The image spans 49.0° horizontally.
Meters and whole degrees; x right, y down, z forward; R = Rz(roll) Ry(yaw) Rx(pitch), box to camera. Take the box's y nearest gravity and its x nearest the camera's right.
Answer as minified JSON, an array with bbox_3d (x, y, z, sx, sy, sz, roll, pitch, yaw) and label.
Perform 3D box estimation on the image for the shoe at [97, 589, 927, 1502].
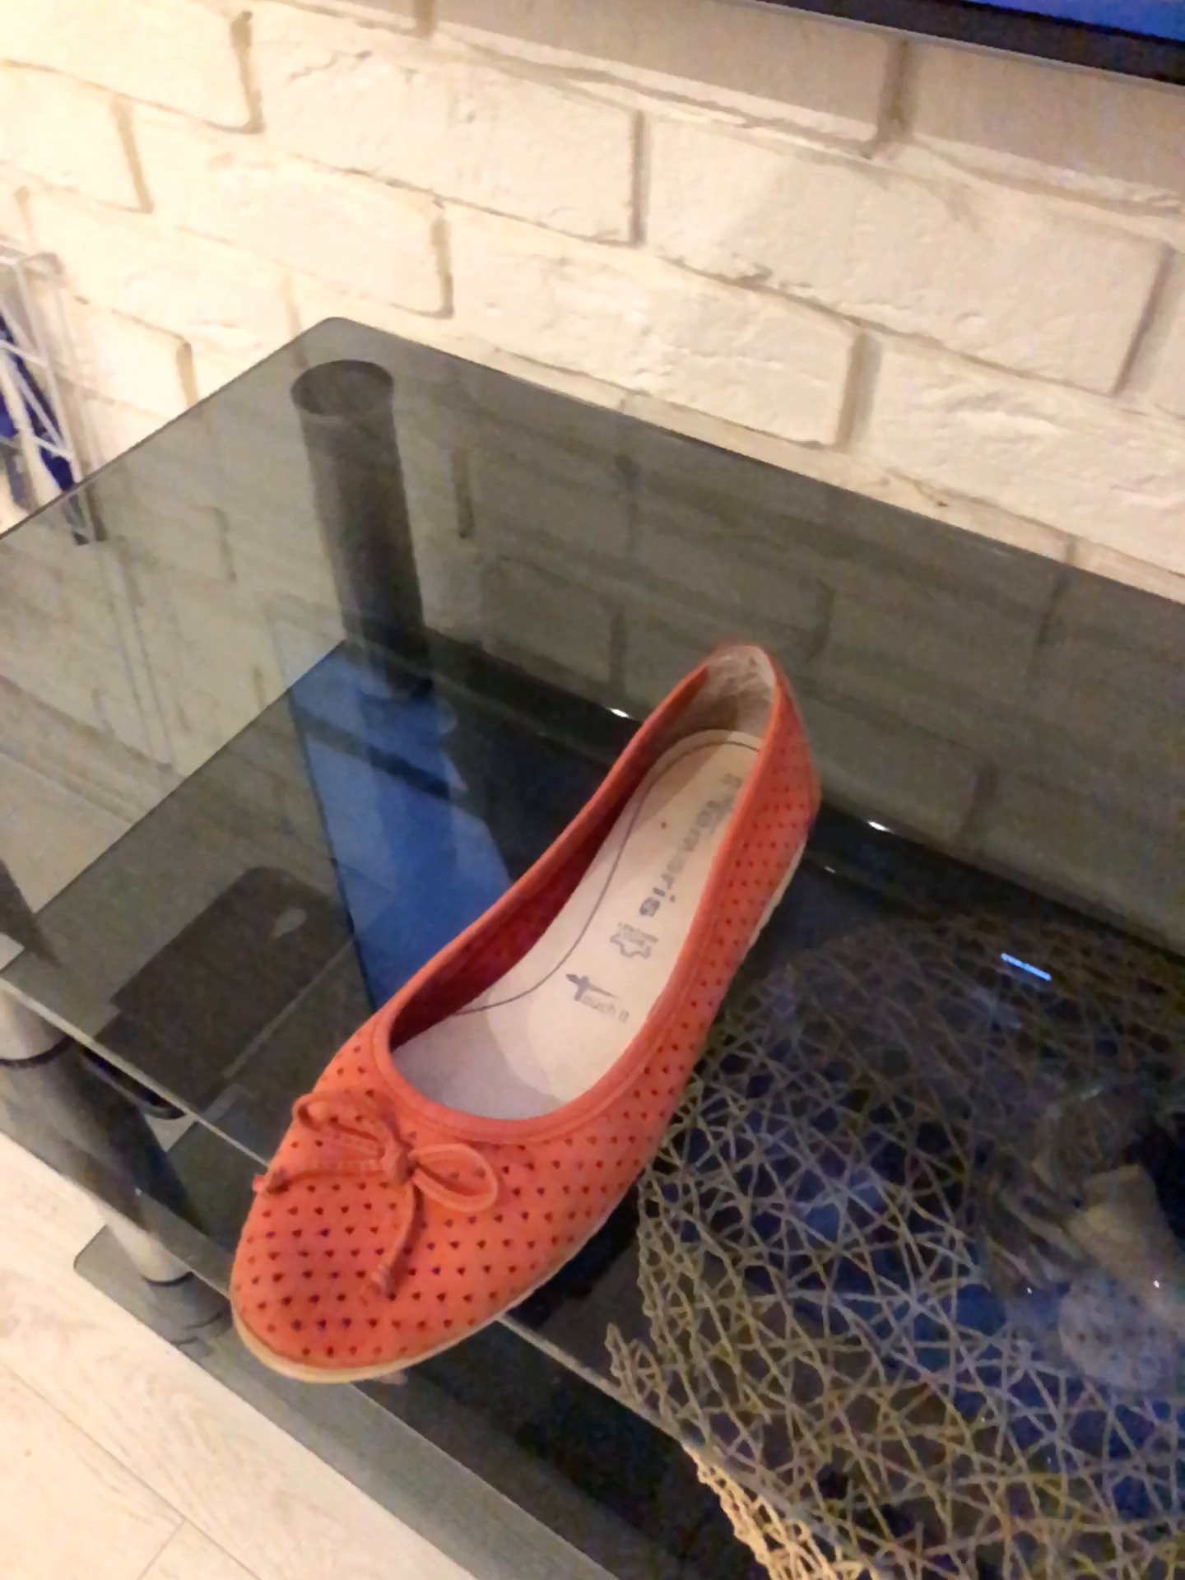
[{"bbox_3d":[-0.005,0.054,0.376,0.090,0.079,0.248,27,53,23],"label":"shoe"}]
